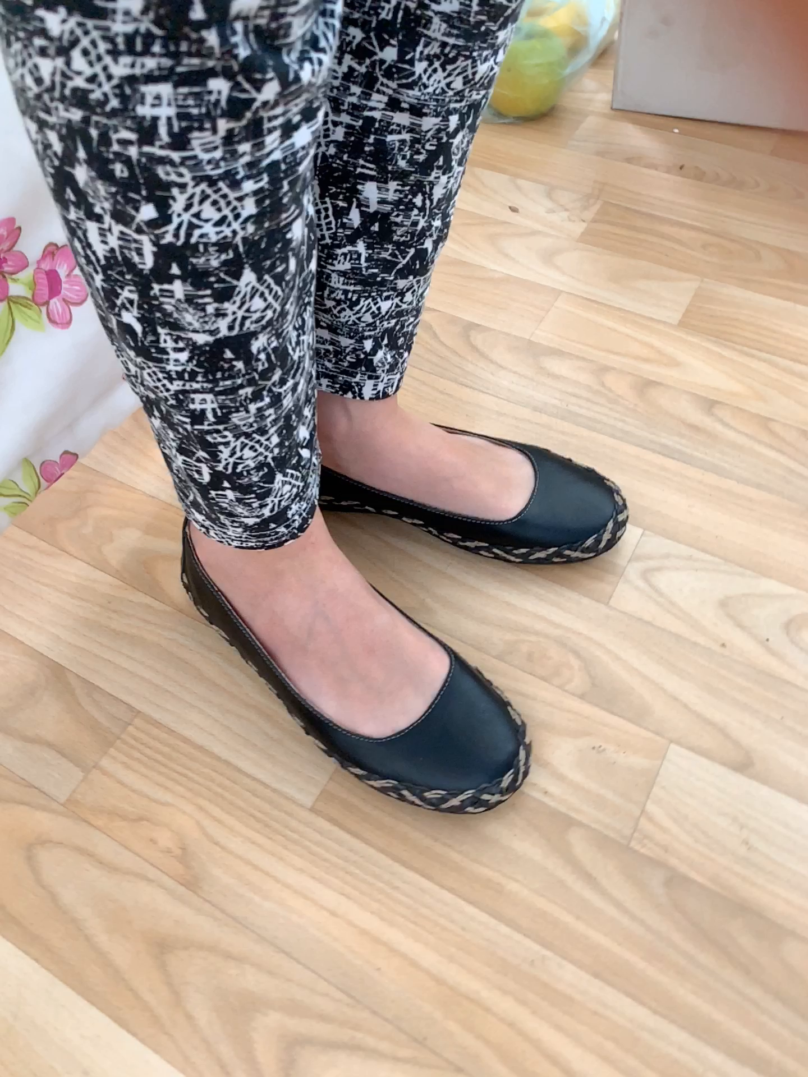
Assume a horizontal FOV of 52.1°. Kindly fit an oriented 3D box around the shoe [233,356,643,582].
[{"bbox_3d":[0.025,-0.051,0.562,0.250,0.060,0.100,10,56,11],"label":"shoe"}]

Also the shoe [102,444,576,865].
[{"bbox_3d":[-0.043,0.057,0.488,0.265,0.070,0.100,33,63,23],"label":"shoe"}]
